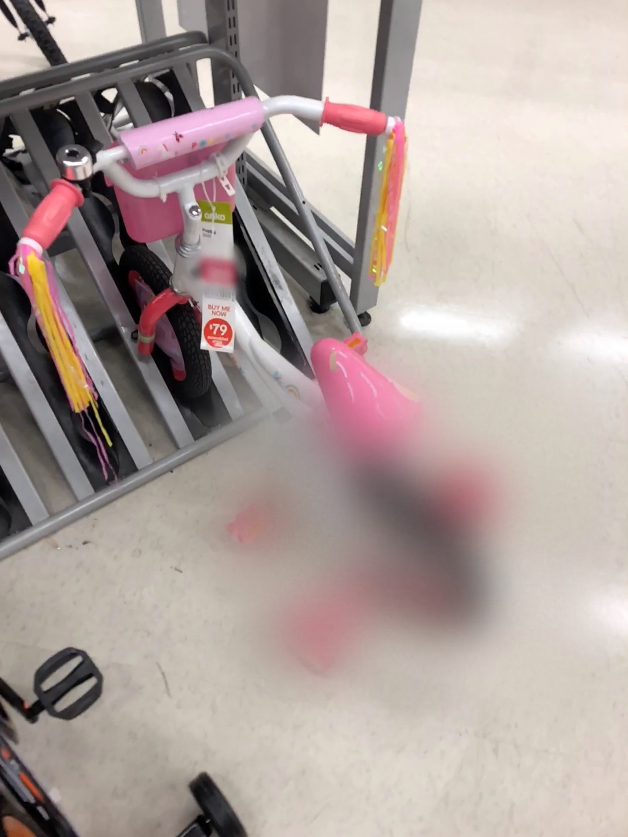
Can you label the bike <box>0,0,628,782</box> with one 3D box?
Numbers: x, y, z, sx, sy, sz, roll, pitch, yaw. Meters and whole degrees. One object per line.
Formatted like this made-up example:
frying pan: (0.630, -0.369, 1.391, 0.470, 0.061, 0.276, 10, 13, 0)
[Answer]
bike: (-0.094, -0.111, 0.989, 0.944, 0.591, 0.517, 40, 61, 23)
